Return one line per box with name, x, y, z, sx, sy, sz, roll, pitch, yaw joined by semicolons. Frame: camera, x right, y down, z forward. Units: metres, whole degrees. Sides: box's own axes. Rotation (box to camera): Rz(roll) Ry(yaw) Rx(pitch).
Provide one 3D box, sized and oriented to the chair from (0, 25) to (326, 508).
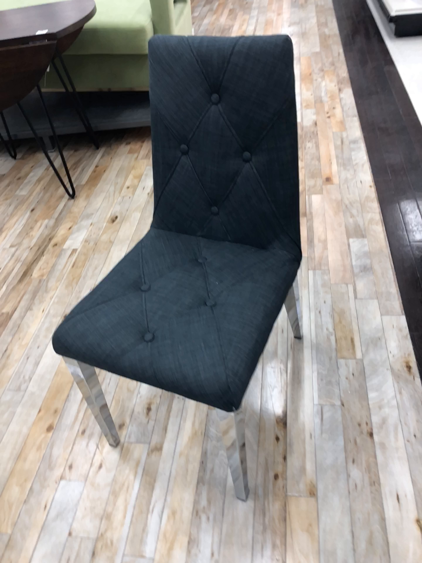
chair;-0.050;-0.023;1.071;0.451;0.866;0.581;12;46;23
